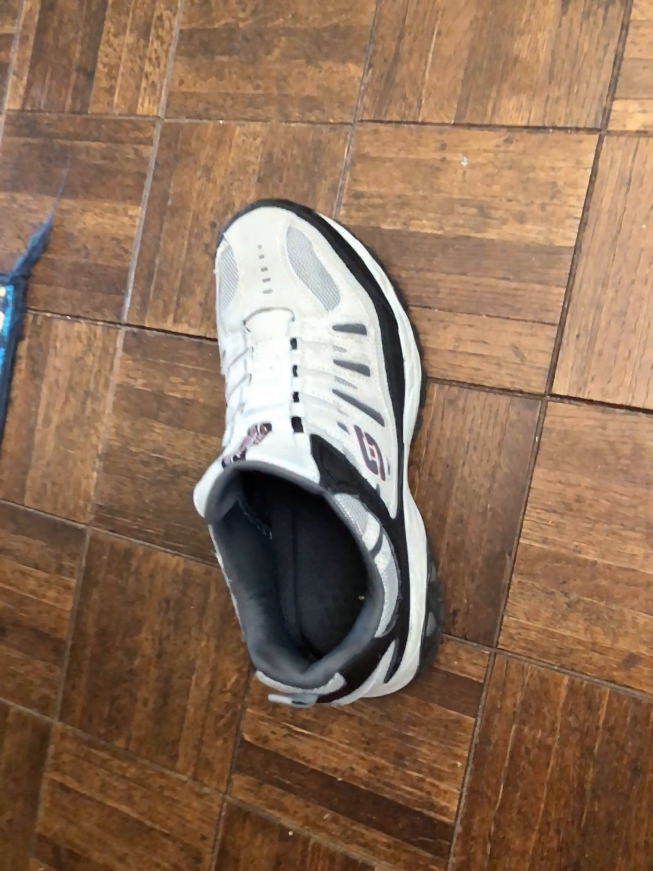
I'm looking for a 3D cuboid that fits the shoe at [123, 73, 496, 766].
[{"bbox_3d":[-0.002,-0.002,0.419,0.120,0.150,0.320,-11,84,21],"label":"shoe"}]
